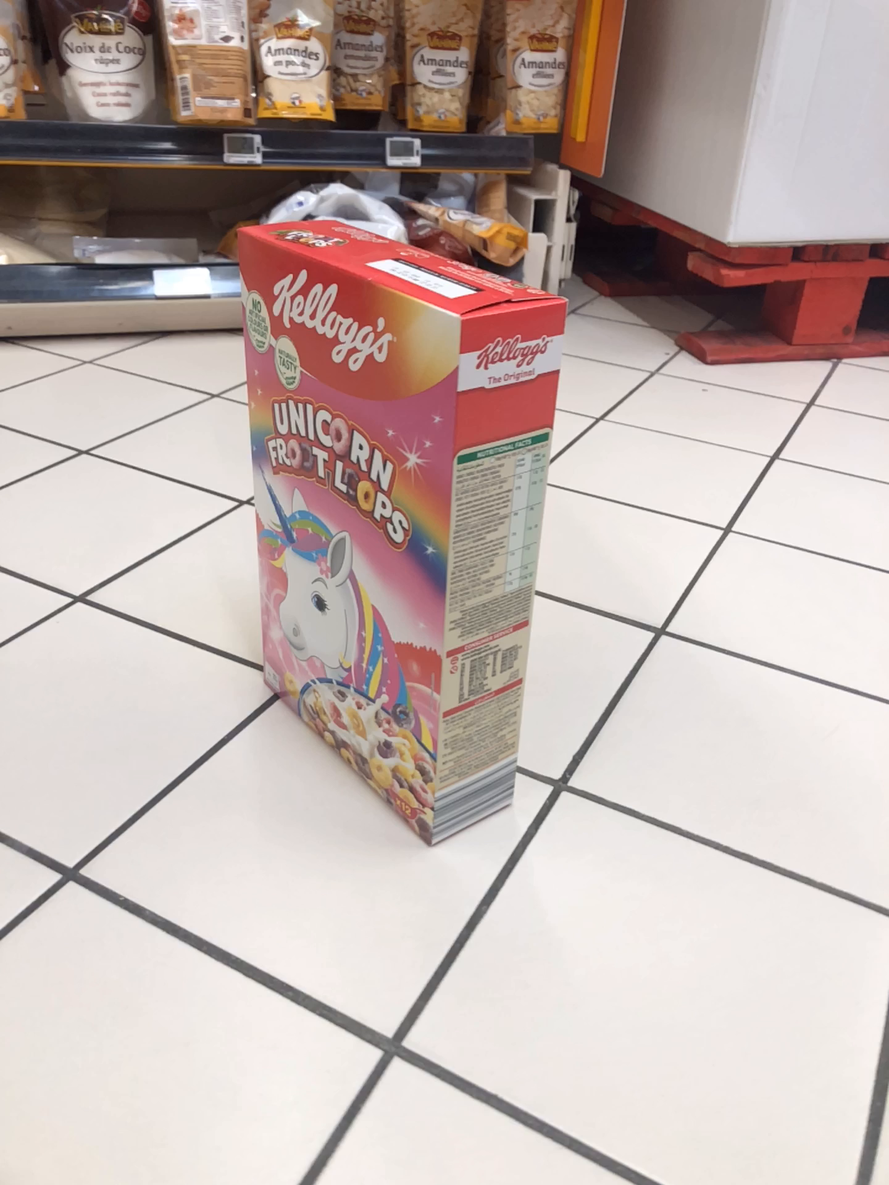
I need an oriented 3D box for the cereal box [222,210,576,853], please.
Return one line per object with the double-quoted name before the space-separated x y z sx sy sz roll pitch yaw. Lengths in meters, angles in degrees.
"cereal box" -0.038 -0.038 0.549 0.070 0.298 0.200 -19 37 -33
